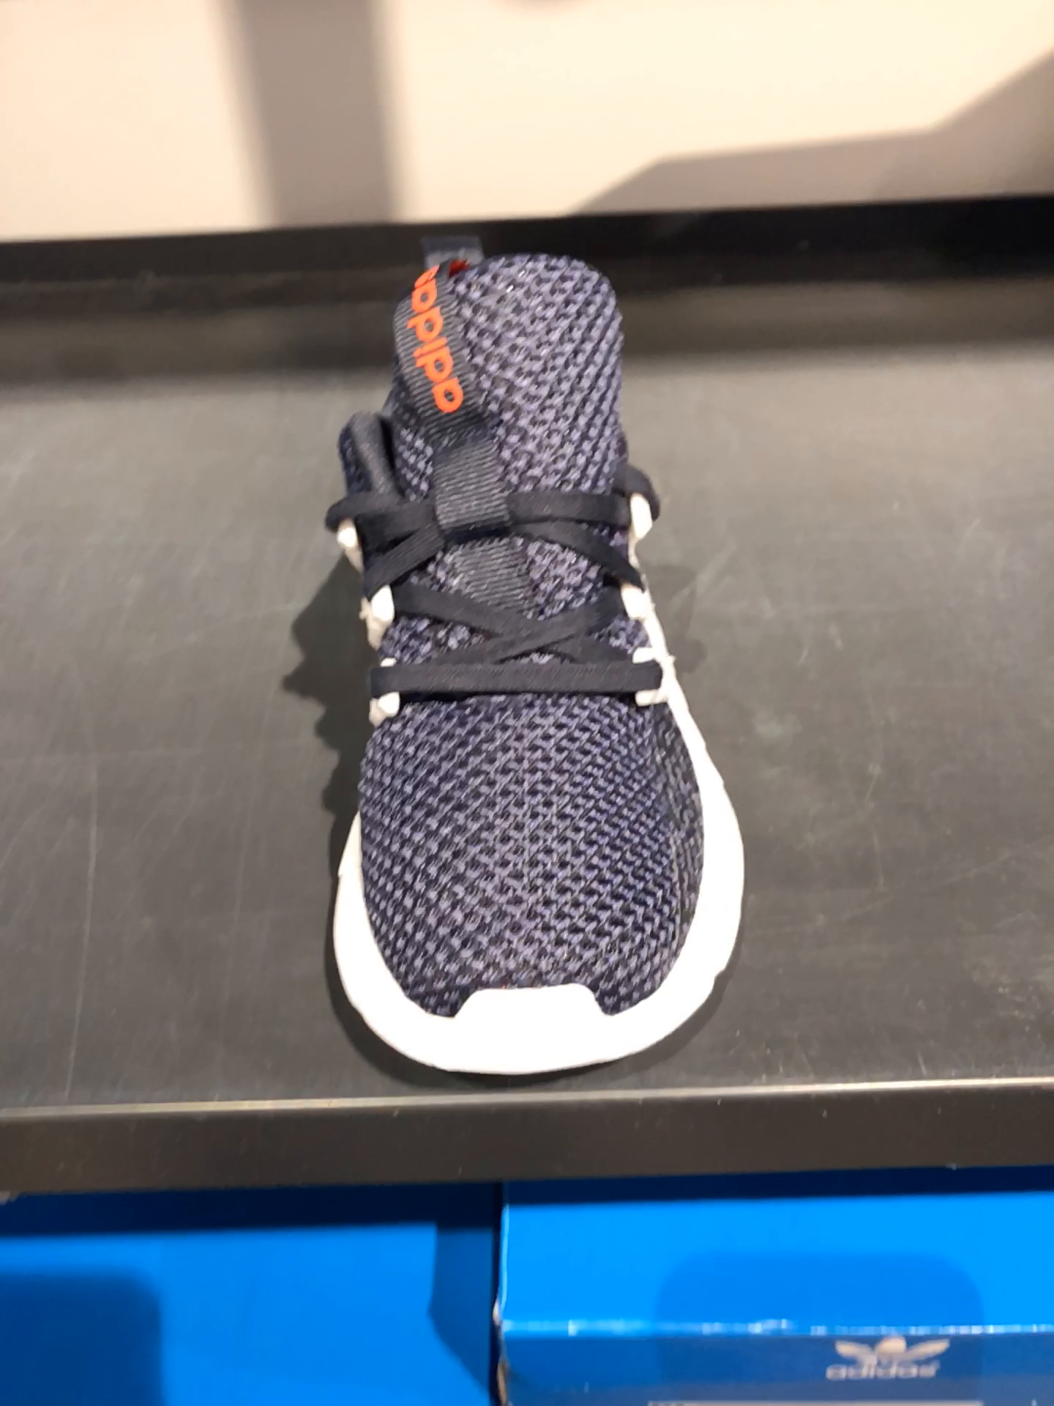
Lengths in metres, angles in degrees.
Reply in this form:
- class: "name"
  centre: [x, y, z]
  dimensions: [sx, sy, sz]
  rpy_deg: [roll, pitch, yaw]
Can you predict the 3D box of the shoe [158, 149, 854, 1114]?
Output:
- class: "shoe"
  centre: [-0.003, -0.031, 0.264]
  dimensions: [0.090, 0.110, 0.201]
  rpy_deg: [-2, 42, 1]
